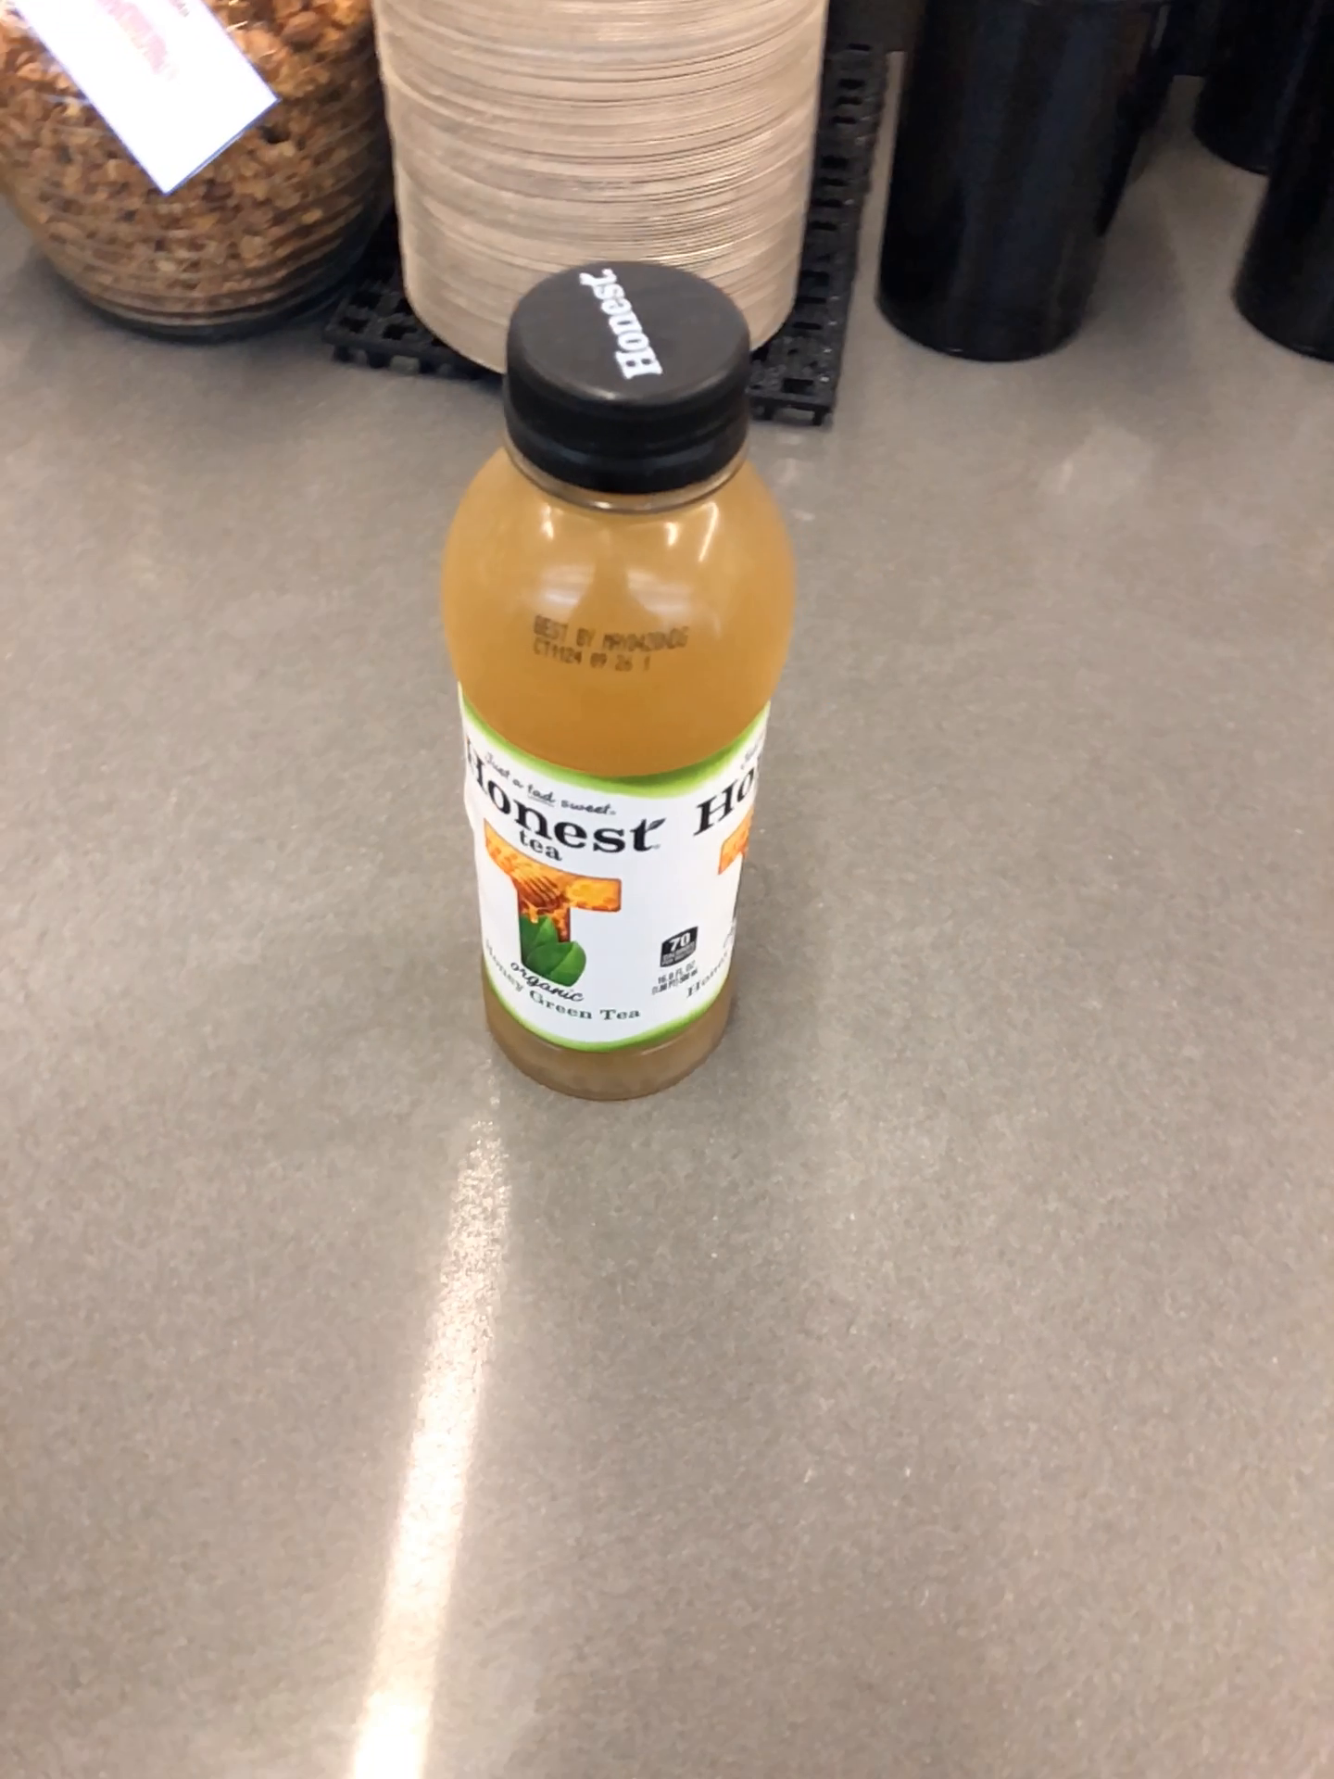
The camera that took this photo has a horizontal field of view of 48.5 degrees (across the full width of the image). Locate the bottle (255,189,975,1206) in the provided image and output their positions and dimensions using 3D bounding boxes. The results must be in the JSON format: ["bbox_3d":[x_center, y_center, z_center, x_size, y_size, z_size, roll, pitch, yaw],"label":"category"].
[{"bbox_3d":[-0.009,-0.028,0.321,0.090,0.189,0.090,2,53,-2],"label":"bottle"}]
